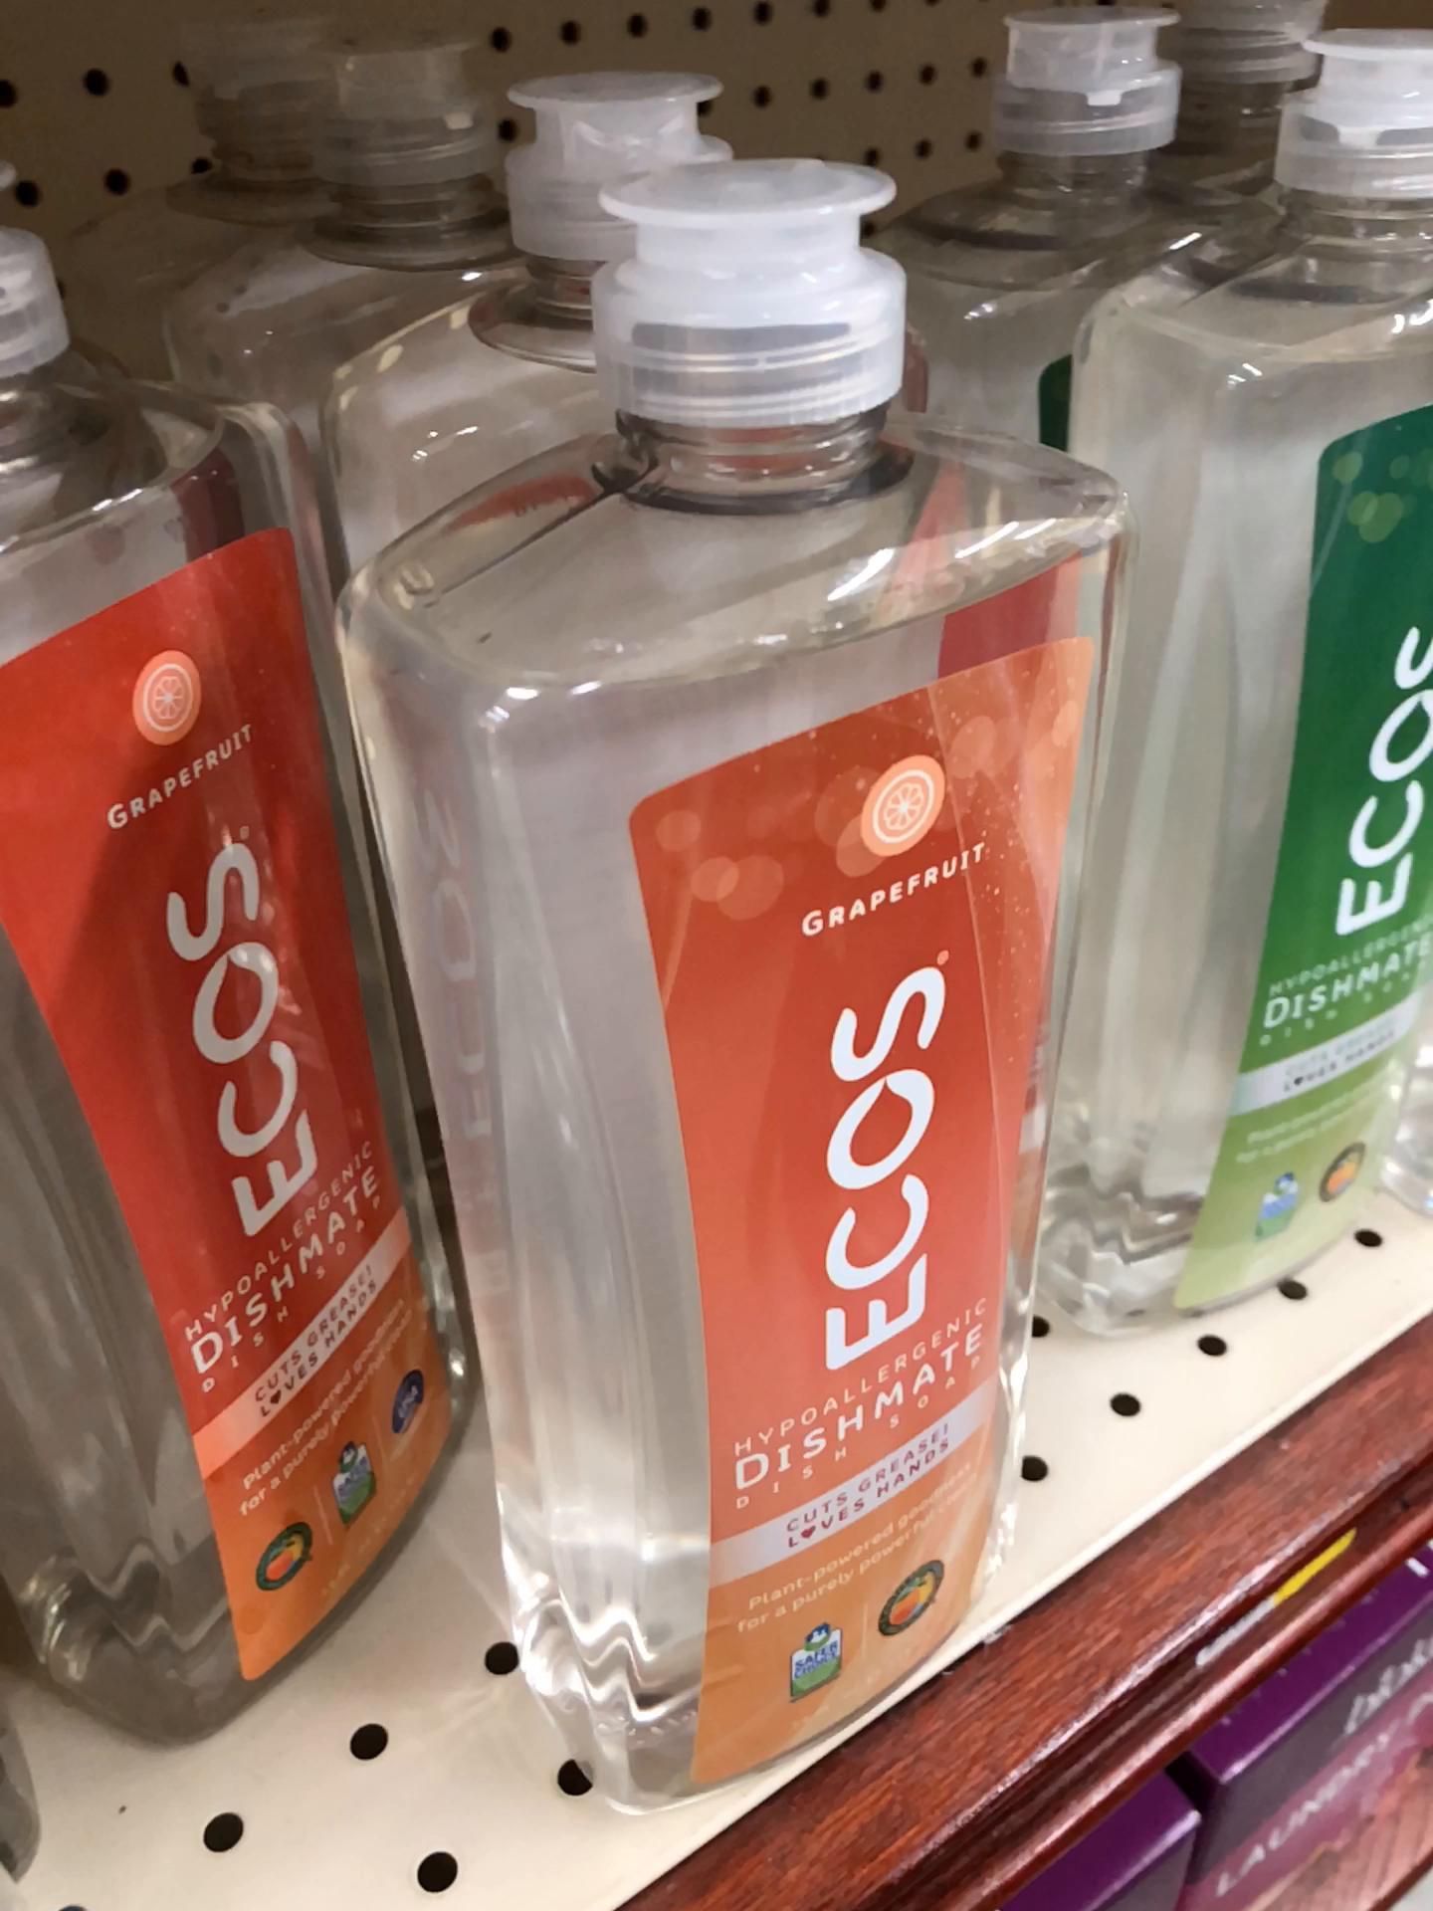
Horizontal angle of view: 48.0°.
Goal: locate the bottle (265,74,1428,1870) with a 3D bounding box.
[{"bbox_3d":[0.014,0.017,0.208,0.092,0.219,0.050,-23,42,-27],"label":"bottle"}]
